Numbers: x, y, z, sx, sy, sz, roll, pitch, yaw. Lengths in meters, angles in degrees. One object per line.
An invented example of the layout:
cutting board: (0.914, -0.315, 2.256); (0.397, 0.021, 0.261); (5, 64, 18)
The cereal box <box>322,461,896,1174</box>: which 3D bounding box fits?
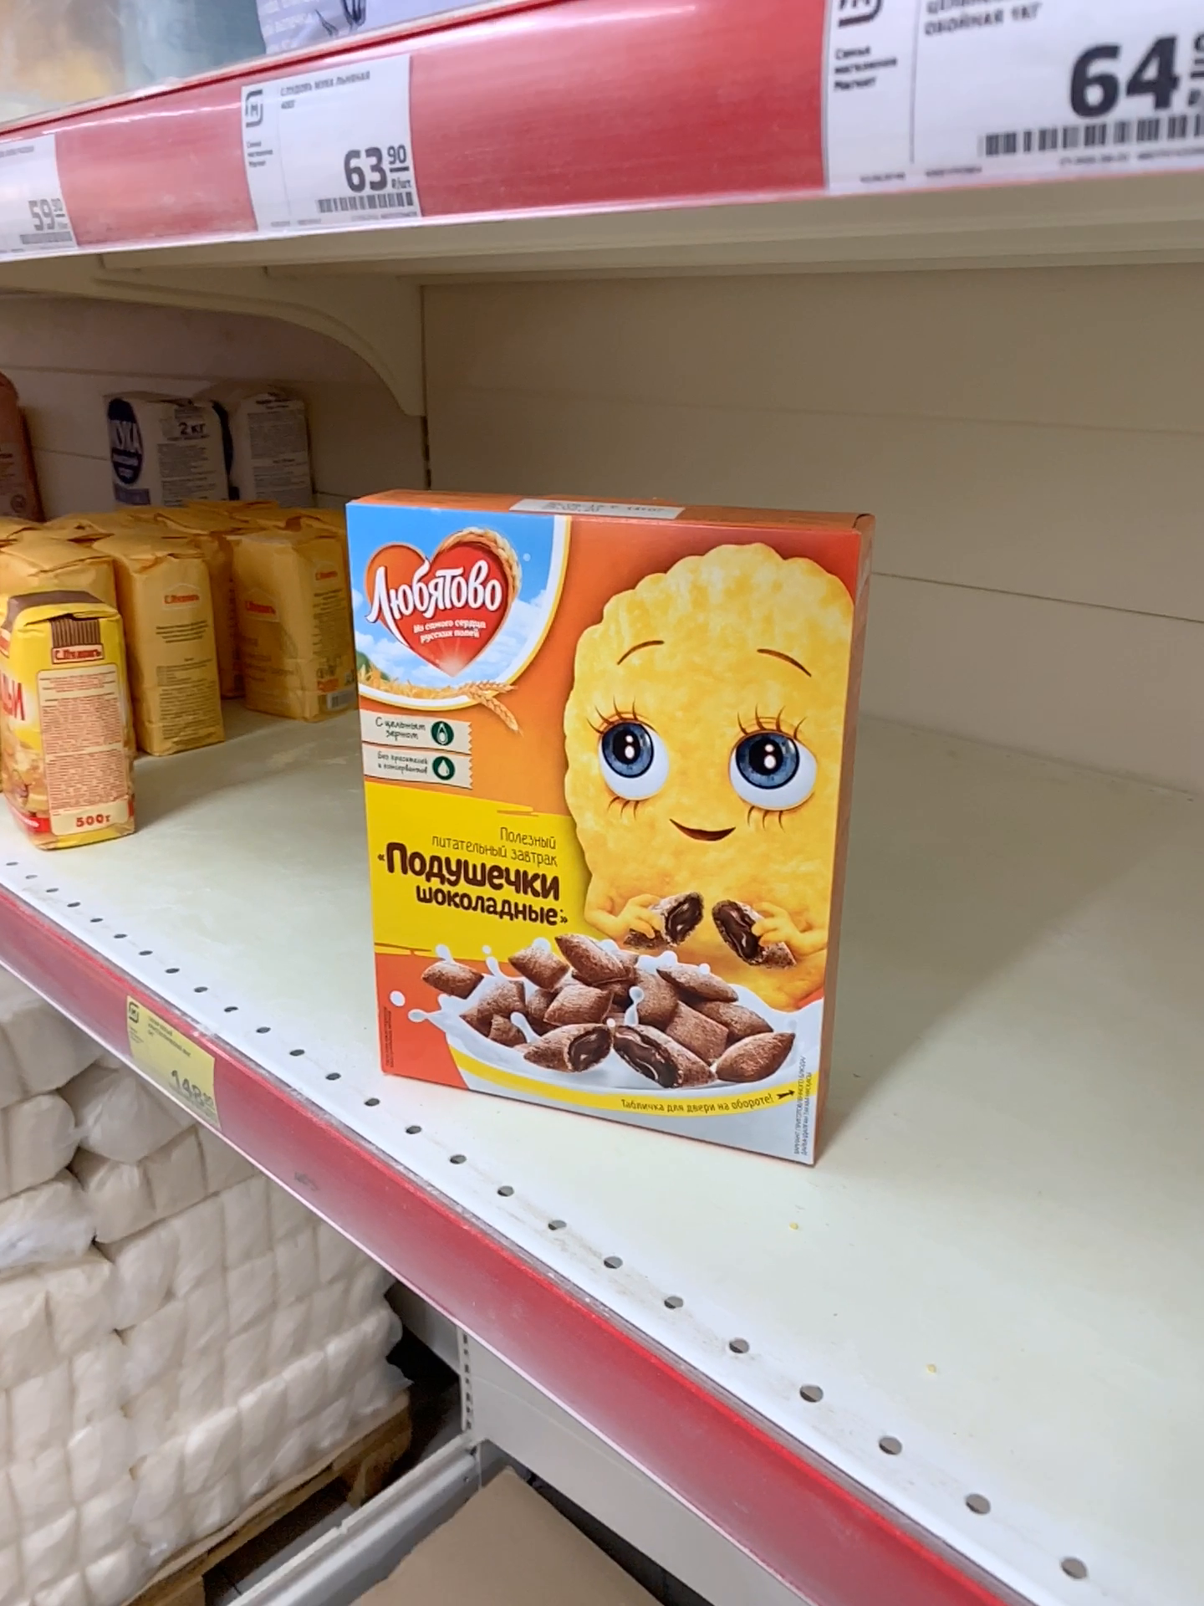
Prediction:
cereal box: (0.001, 0.002, 0.441); (0.180, 0.228, 0.050); (7, 21, 18)
